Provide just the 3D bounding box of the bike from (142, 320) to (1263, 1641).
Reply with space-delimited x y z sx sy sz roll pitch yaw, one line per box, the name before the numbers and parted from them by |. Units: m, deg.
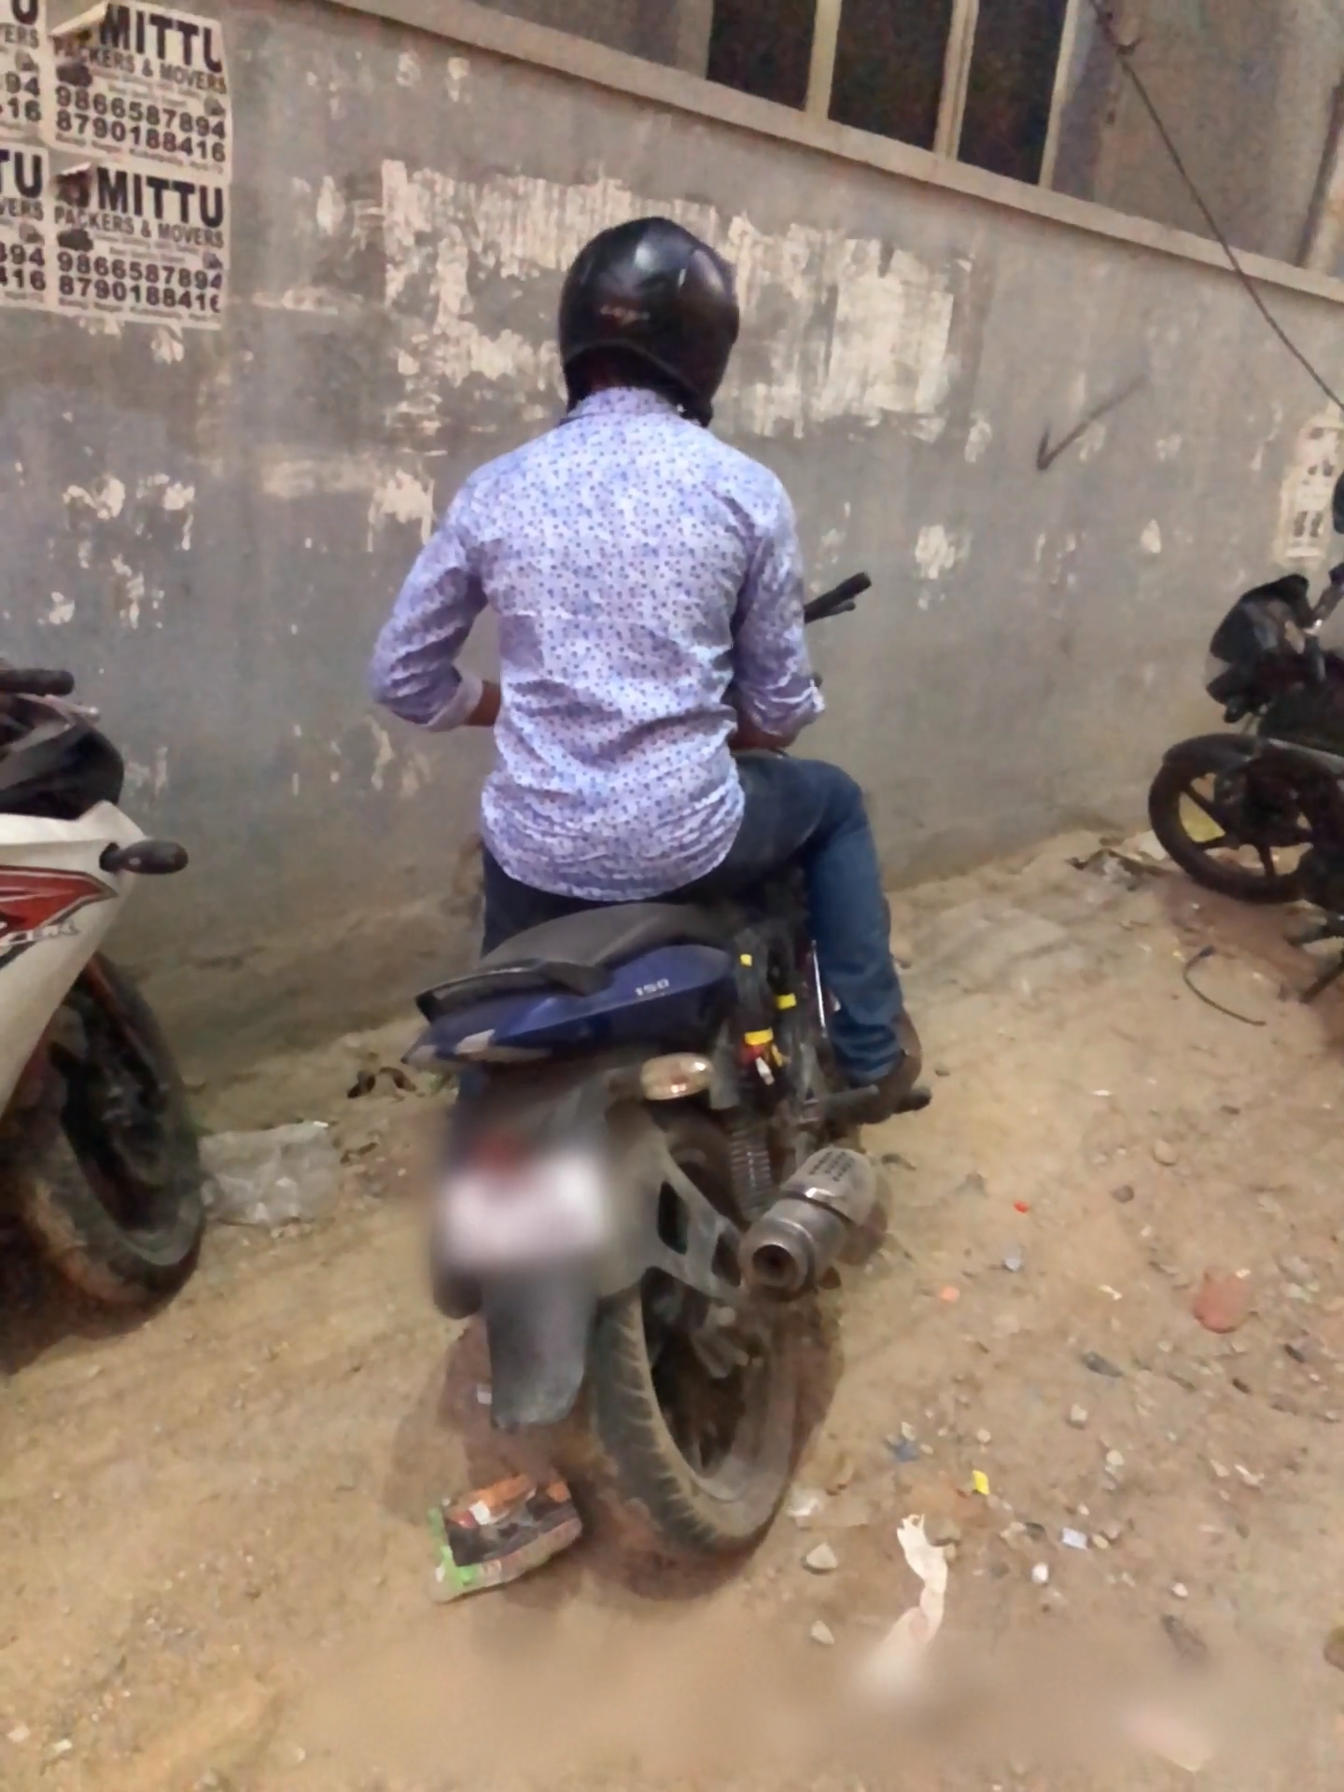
bike | 0.134 -0.068 2.233 1.090 1.113 1.513 8 27 4
